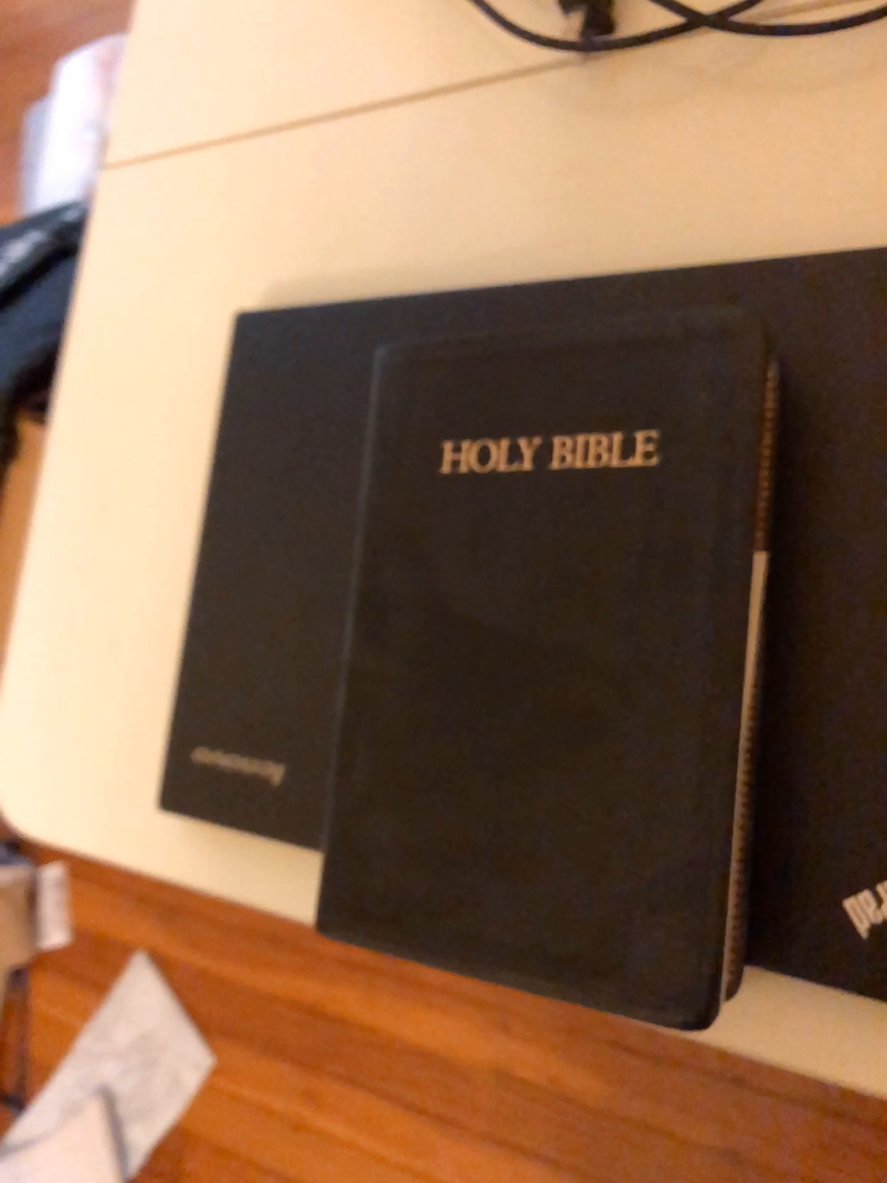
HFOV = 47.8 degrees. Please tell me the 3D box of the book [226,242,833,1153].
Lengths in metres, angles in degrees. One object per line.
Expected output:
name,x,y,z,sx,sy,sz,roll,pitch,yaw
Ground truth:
book,0.024,0.021,0.325,0.171,0.040,0.240,3,81,31
